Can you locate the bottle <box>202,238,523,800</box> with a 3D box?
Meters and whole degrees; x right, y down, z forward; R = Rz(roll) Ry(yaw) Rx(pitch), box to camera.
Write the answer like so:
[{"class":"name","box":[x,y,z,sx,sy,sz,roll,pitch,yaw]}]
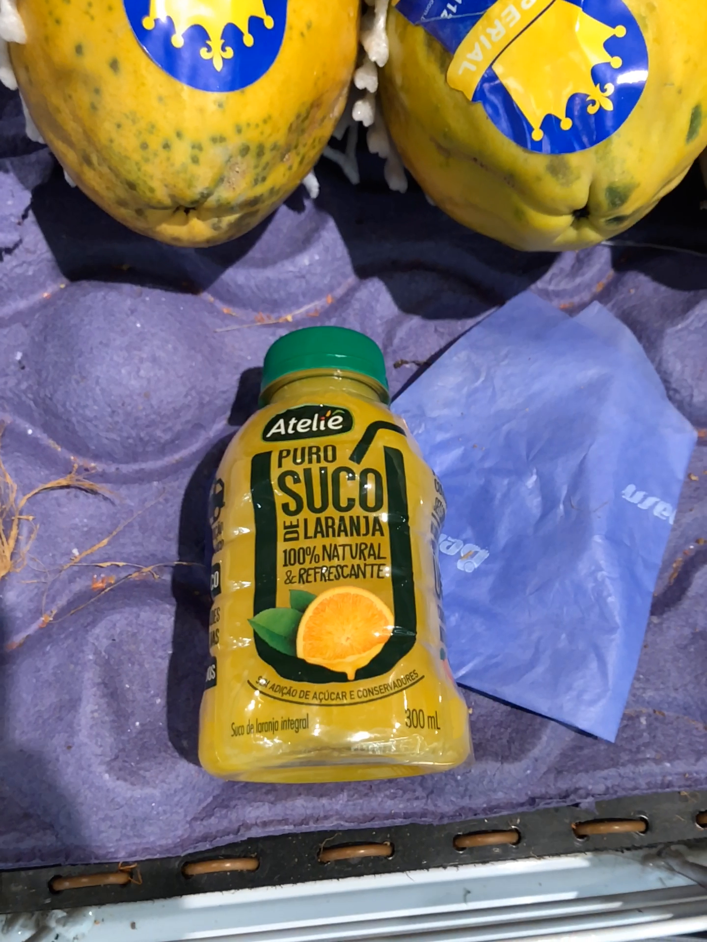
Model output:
[{"class":"bottle","box":[-0.003,0.013,0.222,0.070,0.060,0.140,-1,71,-6]}]
